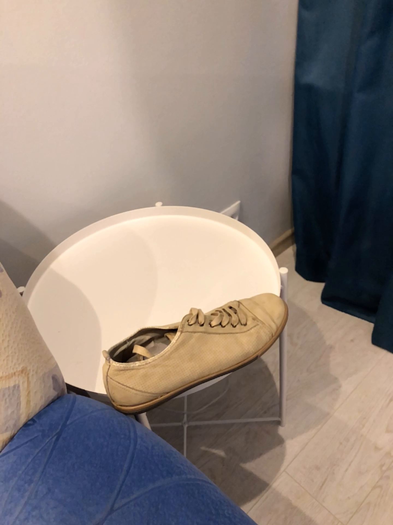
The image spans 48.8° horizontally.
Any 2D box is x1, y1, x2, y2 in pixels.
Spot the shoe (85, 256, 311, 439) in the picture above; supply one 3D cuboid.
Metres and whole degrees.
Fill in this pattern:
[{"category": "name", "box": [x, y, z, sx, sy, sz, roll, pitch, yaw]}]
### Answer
[{"category": "shoe", "box": [0.009, 0.100, 0.584, 0.281, 0.070, 0.111, -26, 41, -21]}]
